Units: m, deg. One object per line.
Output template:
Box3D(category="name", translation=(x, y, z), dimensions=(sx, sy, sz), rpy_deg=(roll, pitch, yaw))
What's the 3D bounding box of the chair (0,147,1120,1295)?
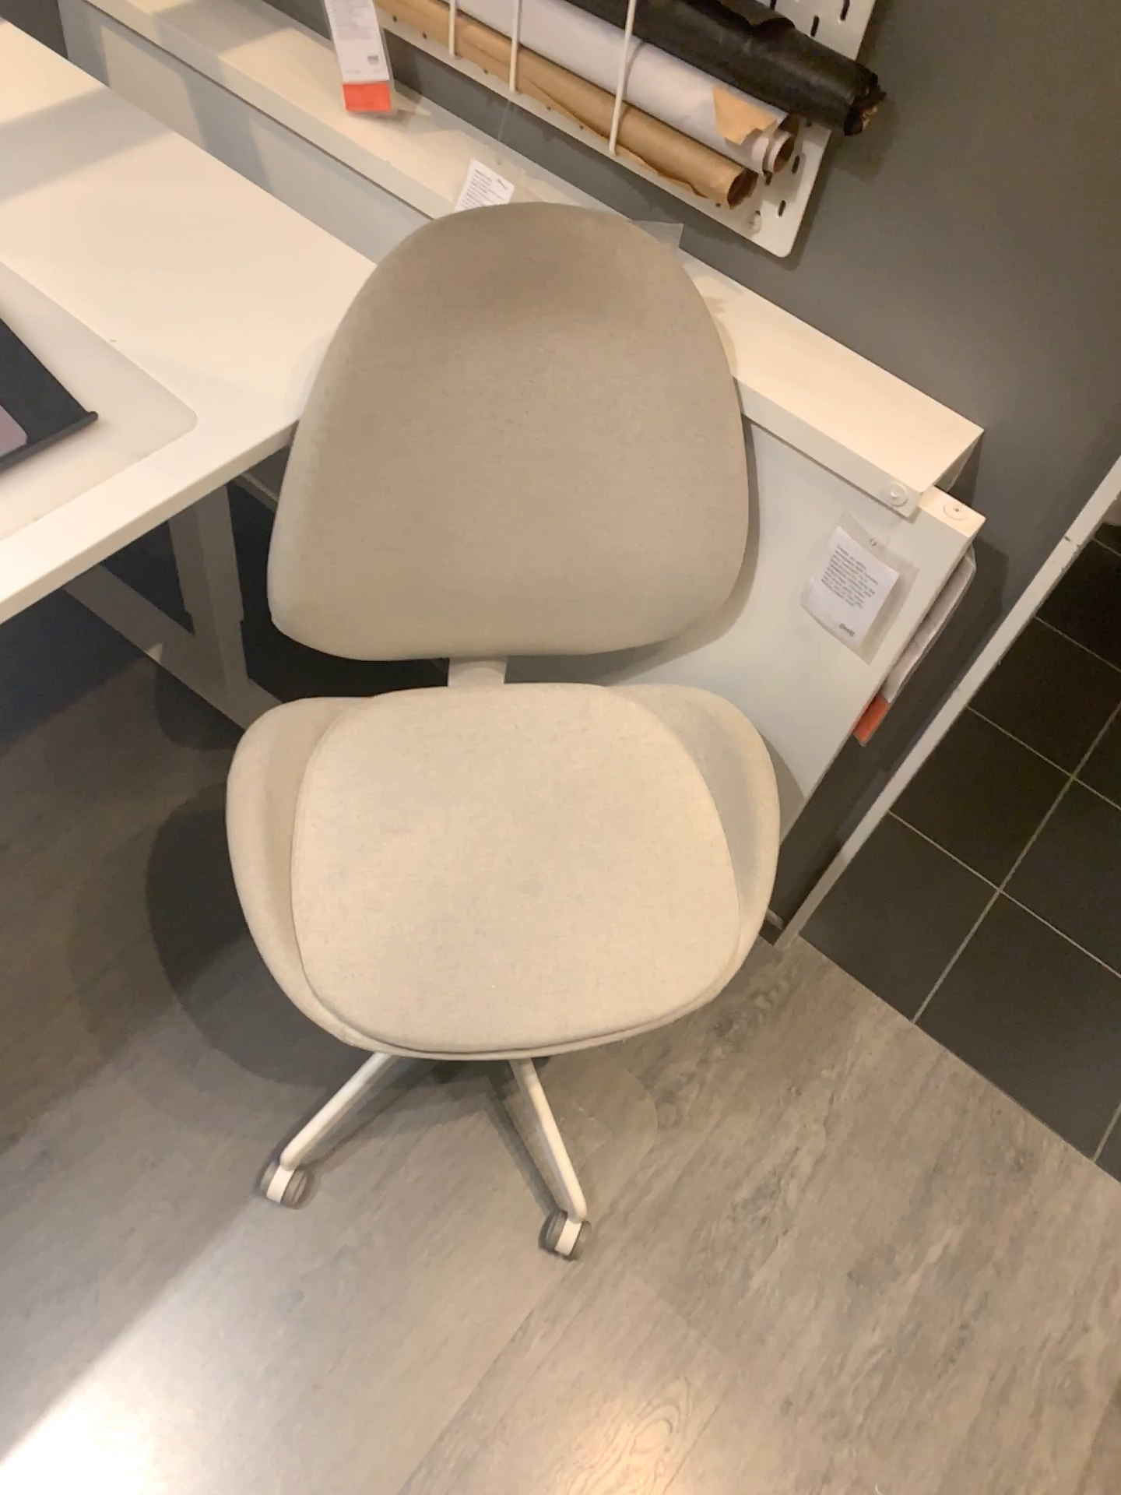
Box3D(category="chair", translation=(-0.036, 0.101, 1.063), dimensions=(0.610, 0.938, 0.591), rpy_deg=(3, 55, -8))
